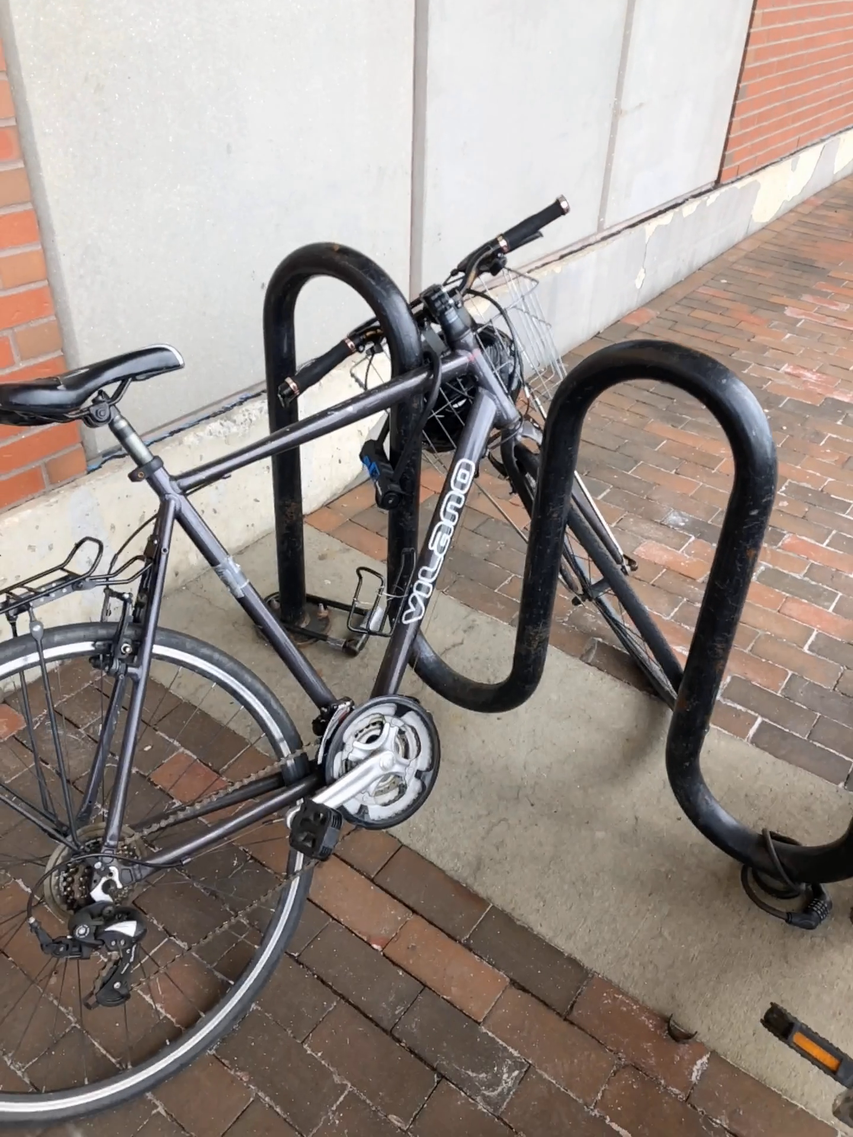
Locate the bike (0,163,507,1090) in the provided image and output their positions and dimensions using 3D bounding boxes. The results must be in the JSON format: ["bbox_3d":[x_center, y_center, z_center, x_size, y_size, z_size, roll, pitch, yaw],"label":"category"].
[{"bbox_3d":[-0.539,-0.143,1.621,0.744,0.734,1.421,25,41,28],"label":"bike"}]
